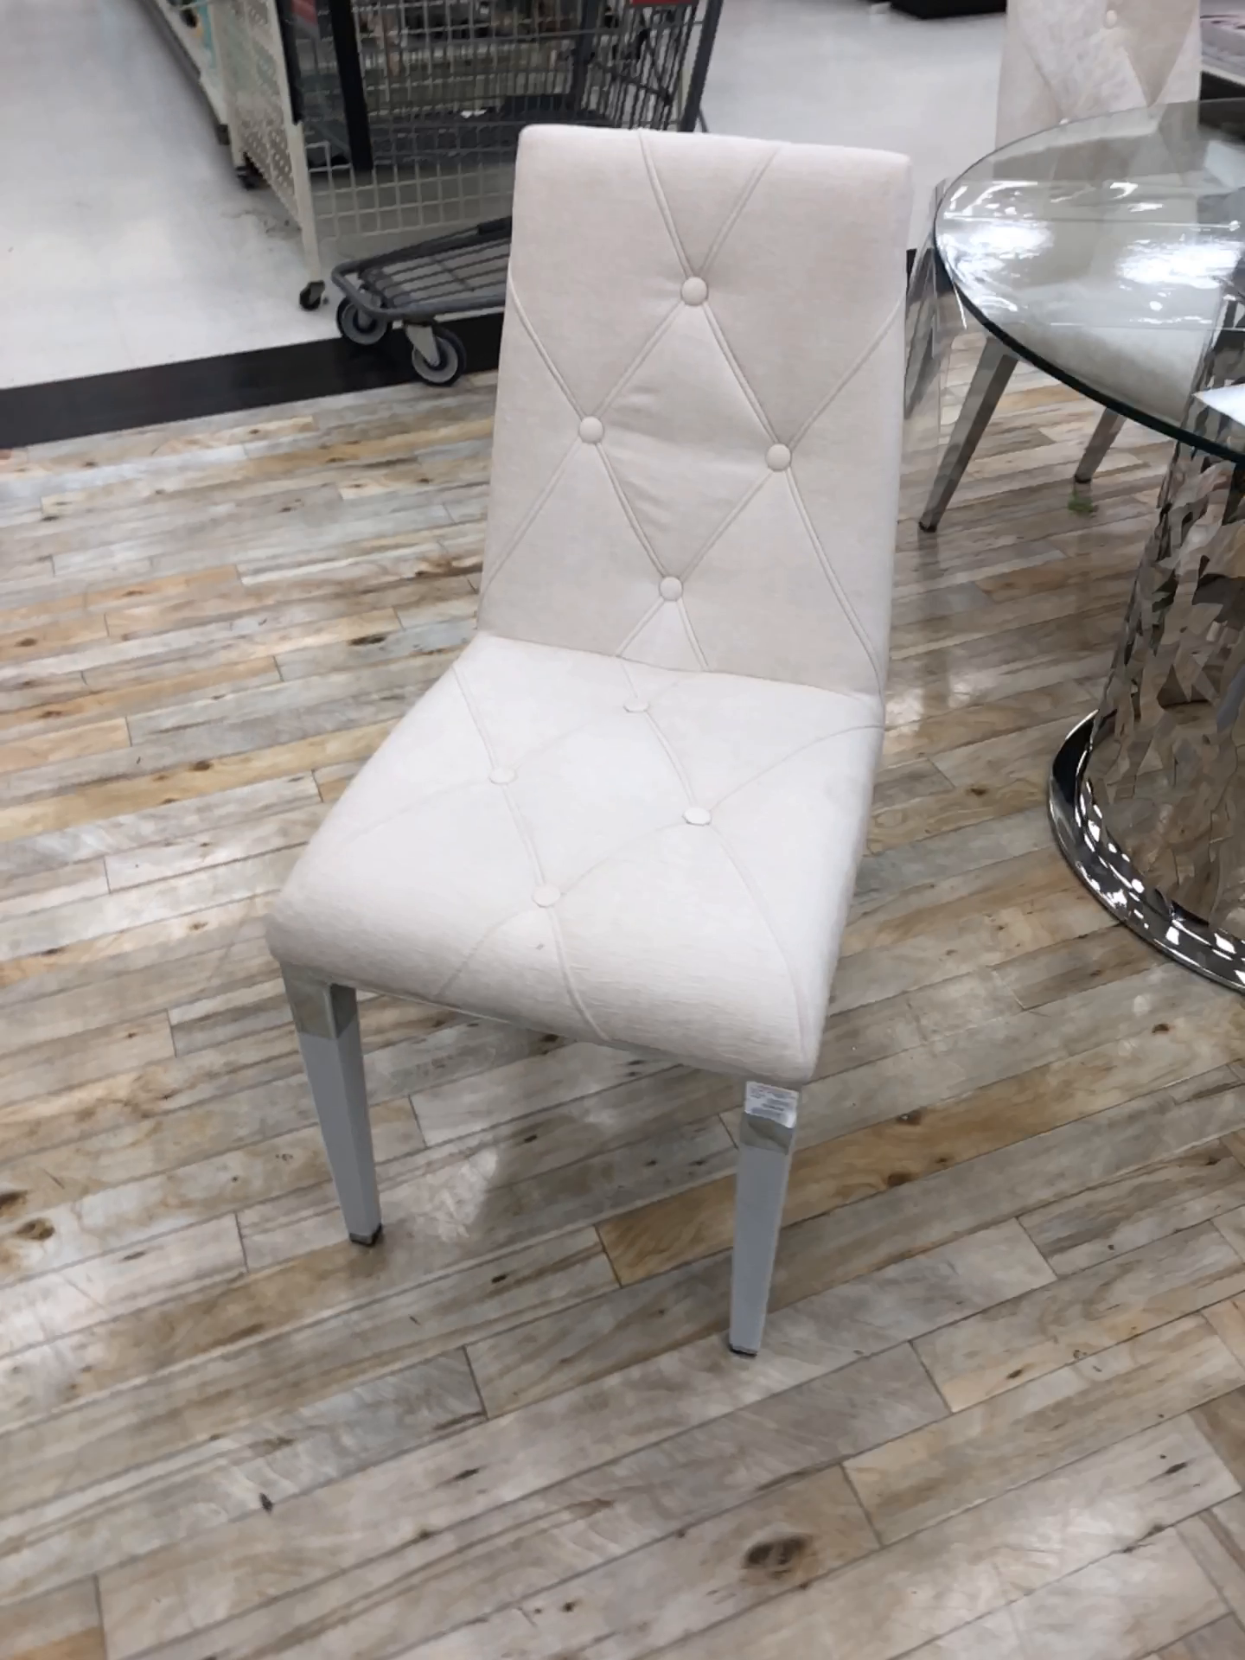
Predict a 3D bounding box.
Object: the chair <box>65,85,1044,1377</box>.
[{"bbox_3d":[0.009,-0.072,1.196,0.470,0.887,0.572,13,43,15],"label":"chair"}]
